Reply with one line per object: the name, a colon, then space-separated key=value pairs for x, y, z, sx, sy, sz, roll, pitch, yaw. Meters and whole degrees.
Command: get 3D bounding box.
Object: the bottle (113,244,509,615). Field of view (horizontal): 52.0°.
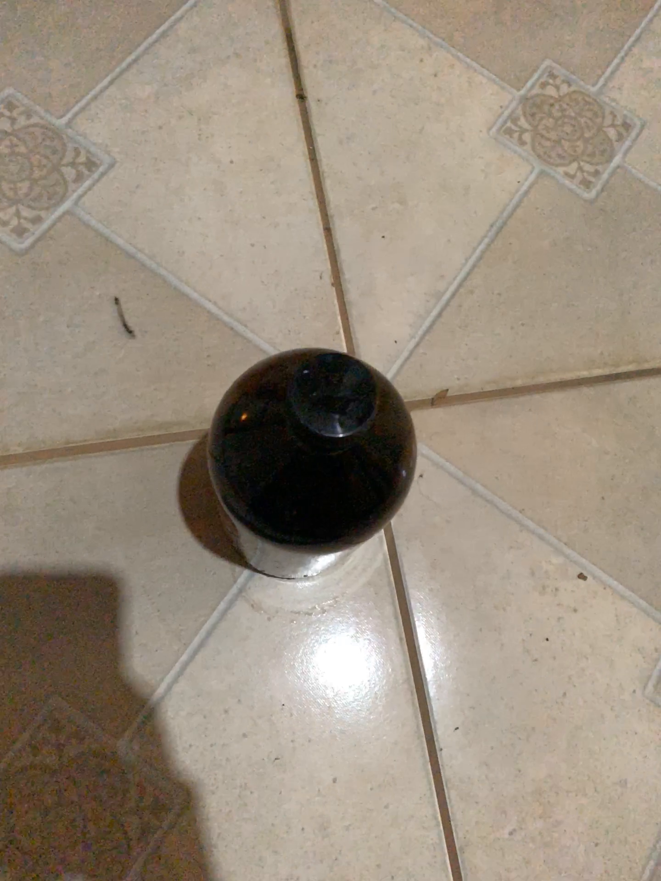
bottle: x=-0.013 y=0.019 z=0.320 sx=0.100 sy=0.210 sz=0.090 roll=24 pitch=74 yaw=1
